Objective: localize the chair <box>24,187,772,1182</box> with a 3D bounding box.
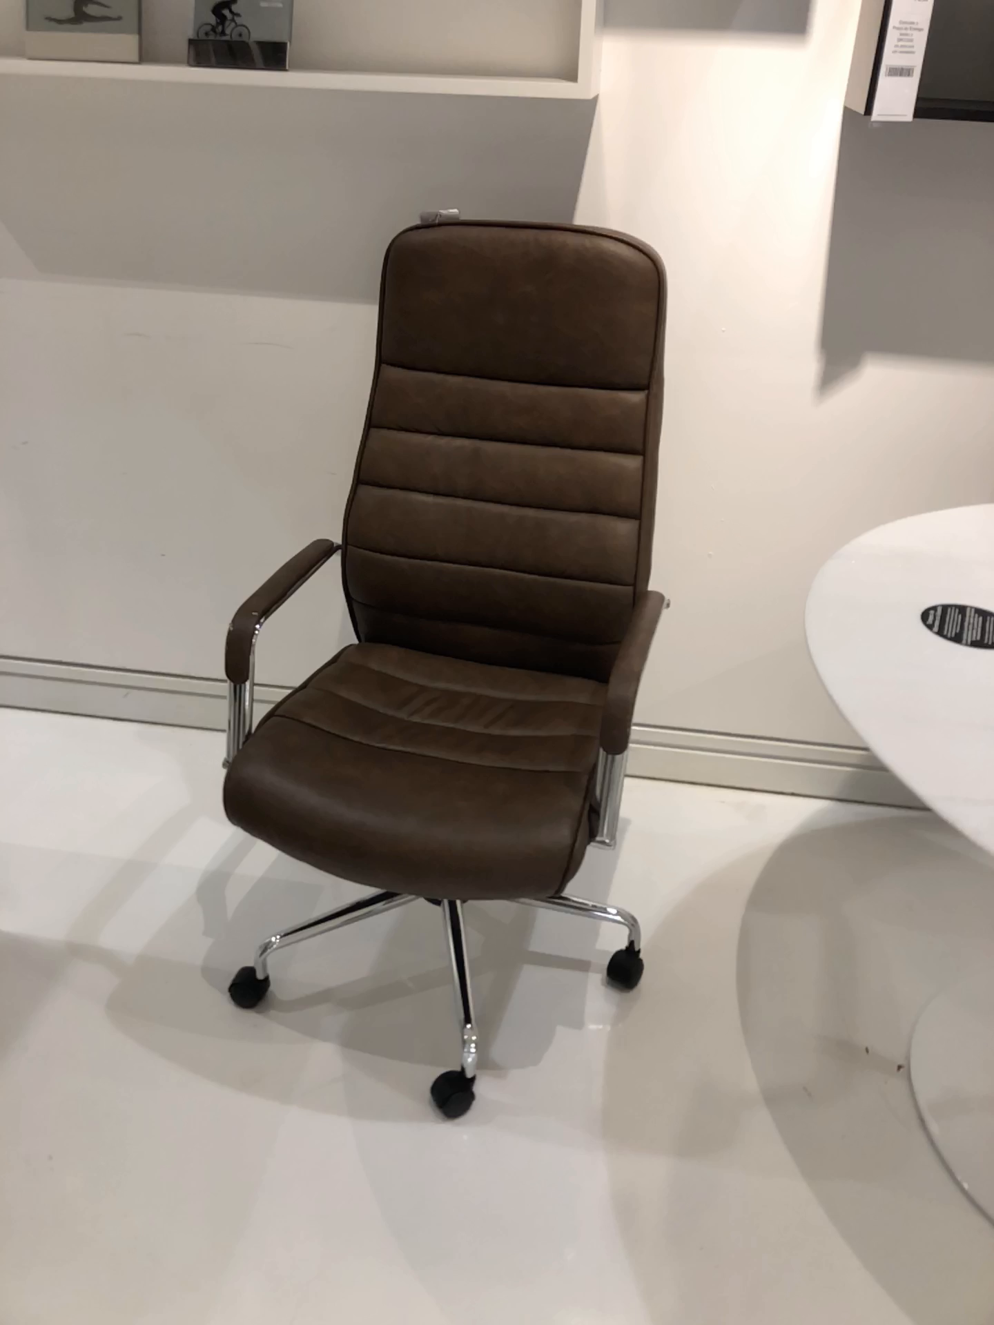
[{"bbox_3d":[-0.059,-0.024,1.655,0.700,1.171,0.786,10,30,14],"label":"chair"}]
